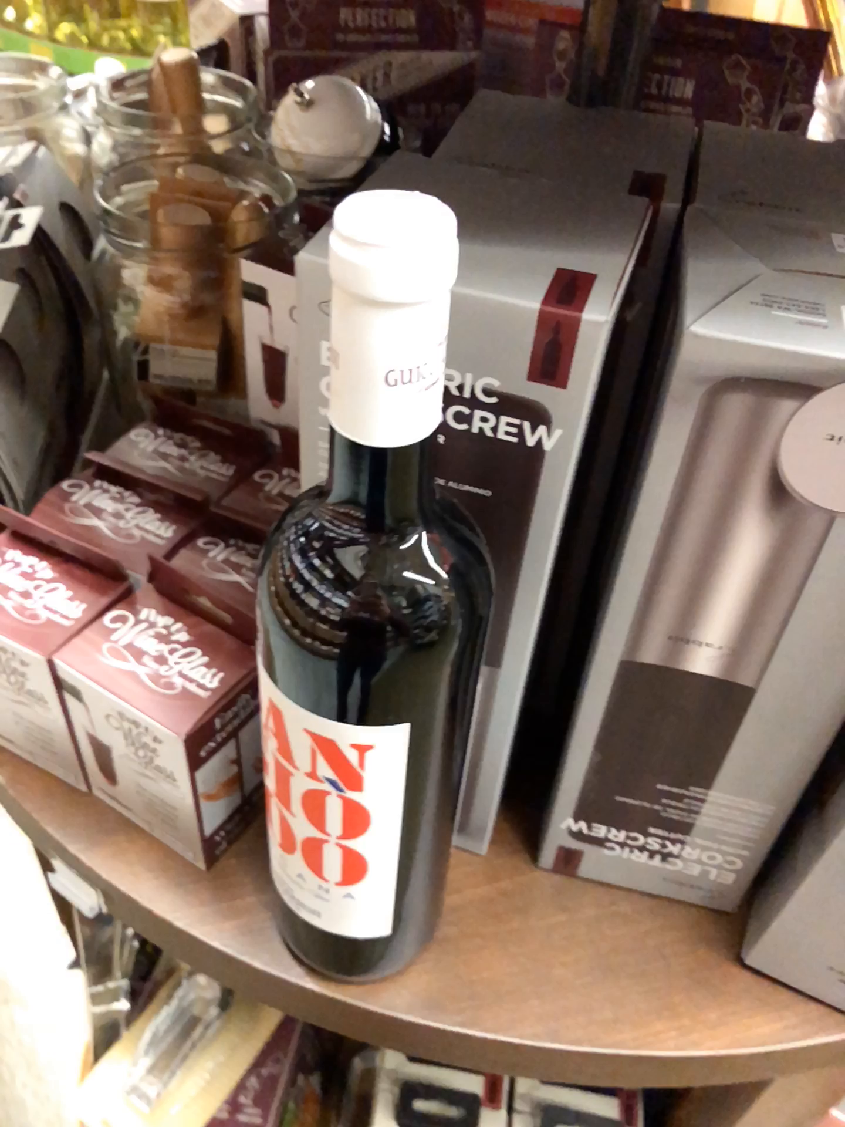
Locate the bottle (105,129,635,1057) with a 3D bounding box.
[{"bbox_3d":[-0.017,0.039,0.307,0.083,0.309,0.080,2,42,-2],"label":"bottle"}]
